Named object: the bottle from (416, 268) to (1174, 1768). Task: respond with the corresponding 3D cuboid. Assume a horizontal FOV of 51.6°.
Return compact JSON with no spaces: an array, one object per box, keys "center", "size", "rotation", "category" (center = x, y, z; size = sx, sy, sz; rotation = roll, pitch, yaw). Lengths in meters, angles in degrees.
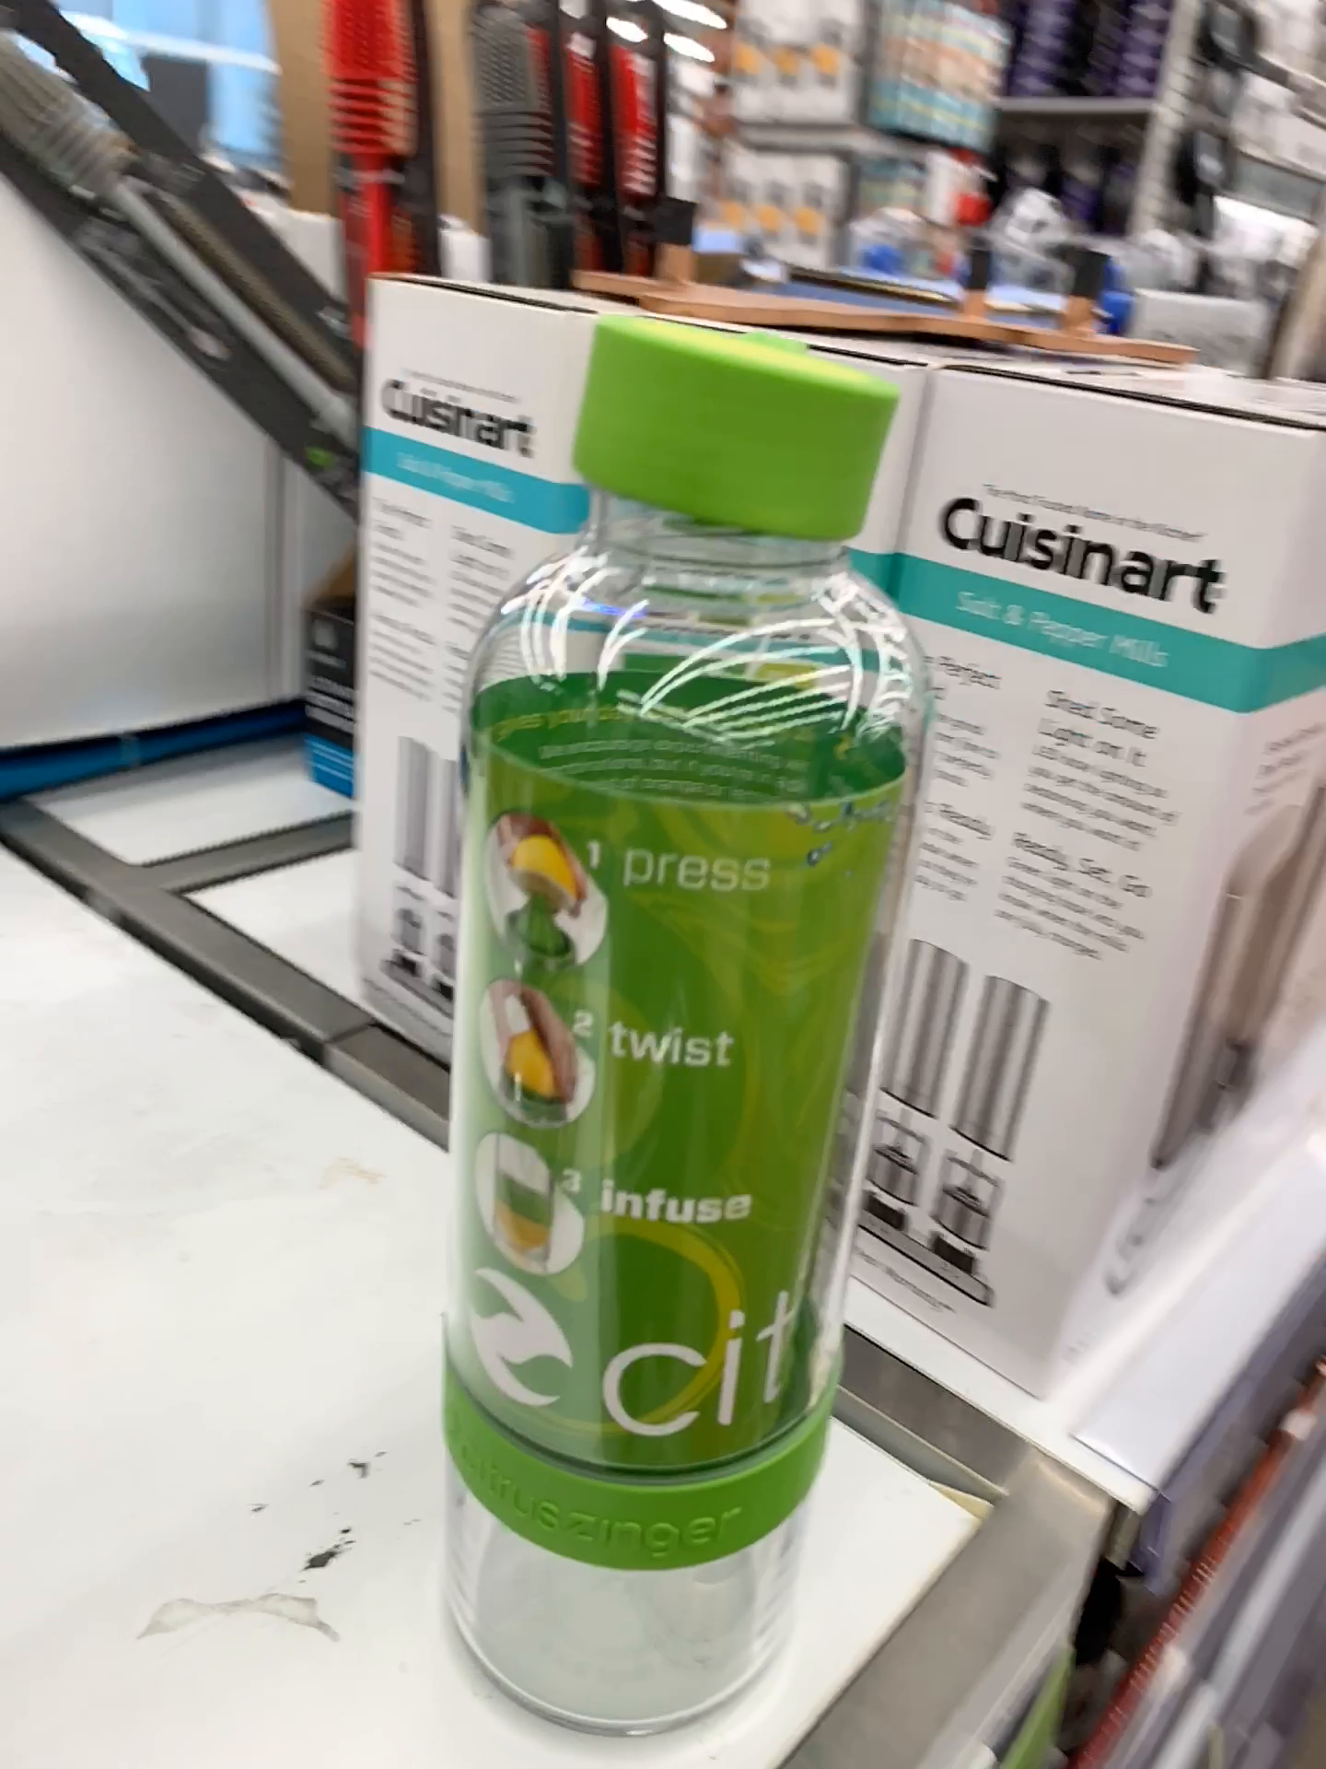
[{"center":[0.002,0.033,0.242],"size":[0.078,0.250,0.081],"rotation":[5,24,-2],"category":"bottle"}]
